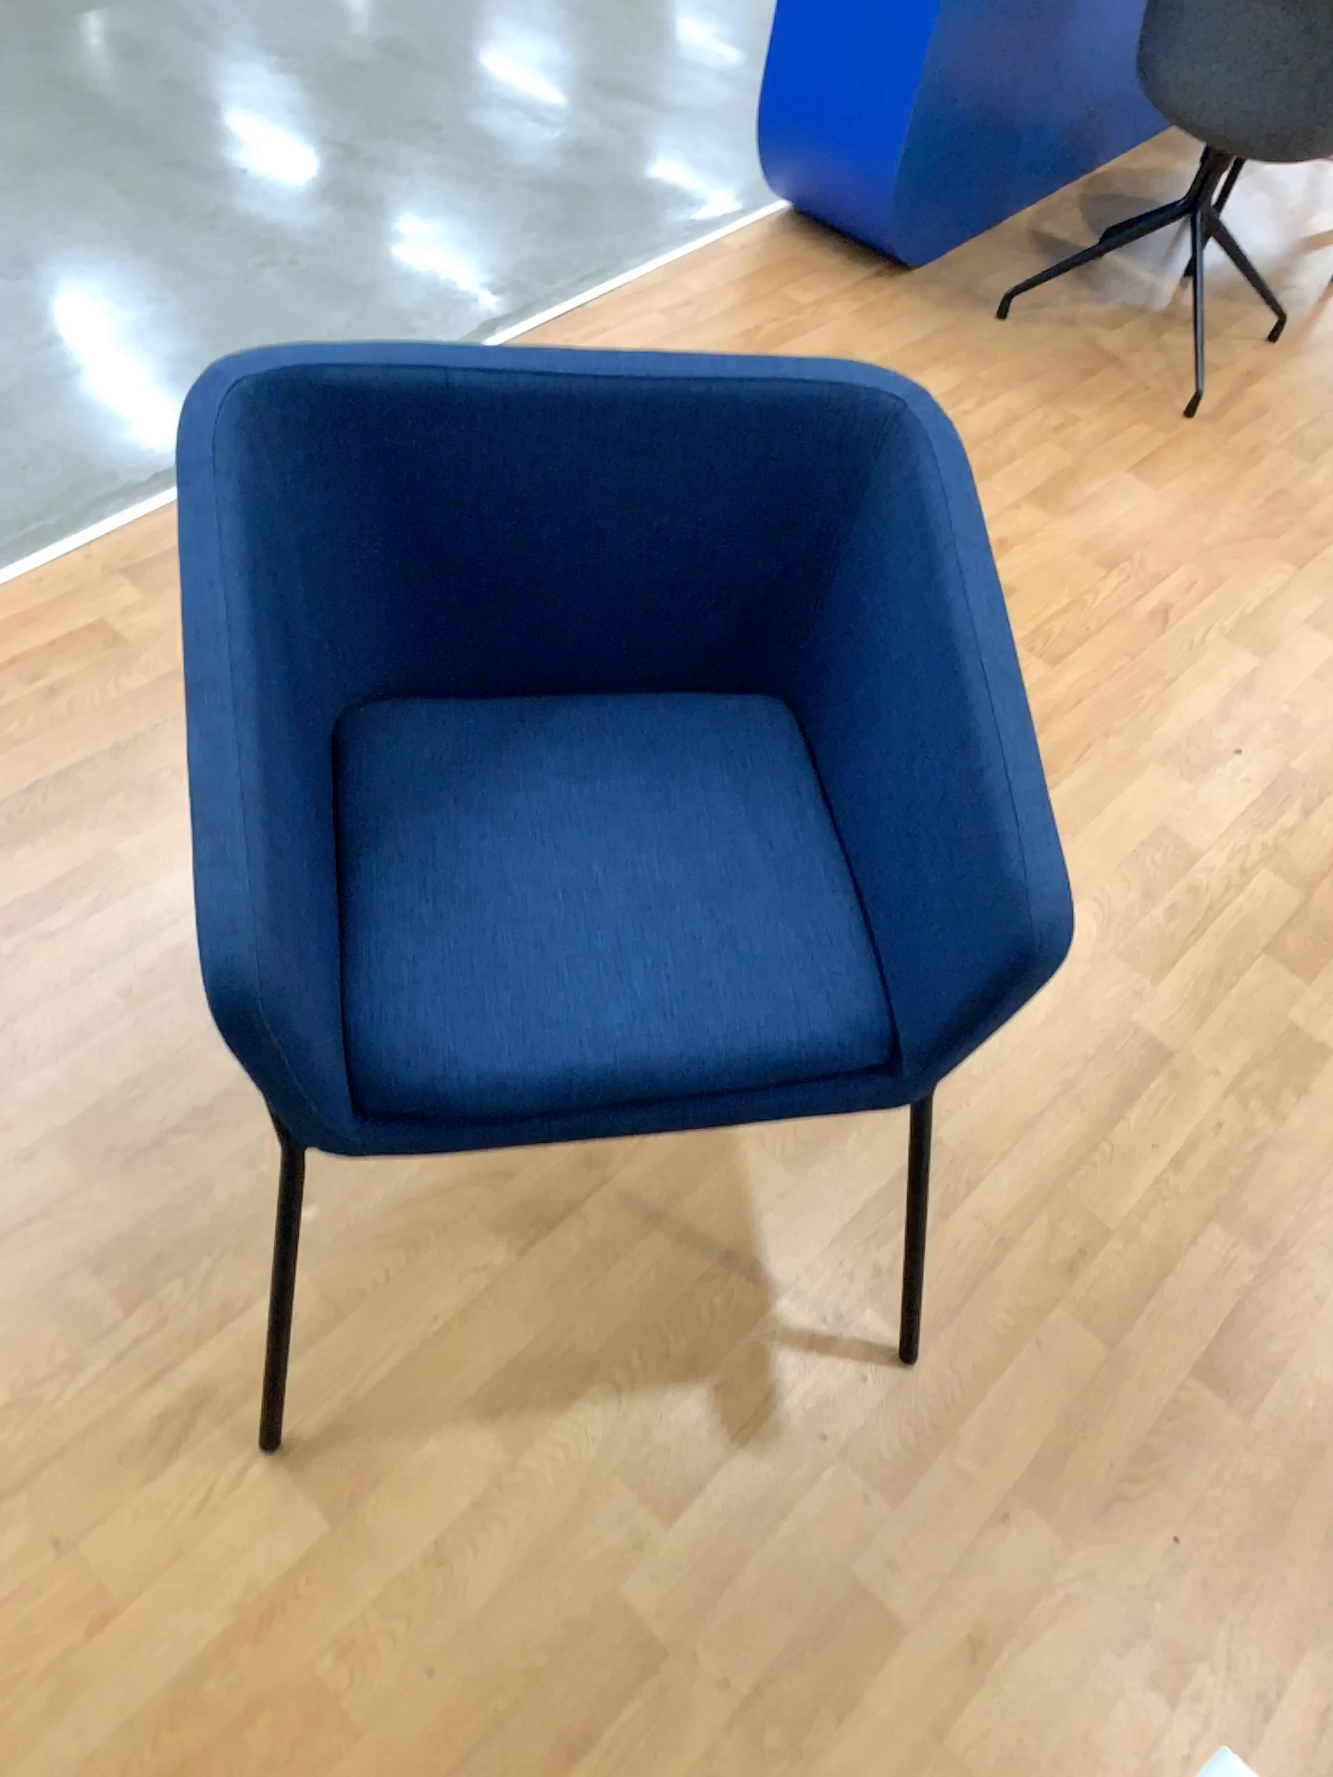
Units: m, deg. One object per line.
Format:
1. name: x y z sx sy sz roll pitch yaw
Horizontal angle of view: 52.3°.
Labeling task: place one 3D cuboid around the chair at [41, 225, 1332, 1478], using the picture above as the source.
1. chair: -0.050 -0.023 1.177 0.700 0.685 0.755 -2 52 -12
